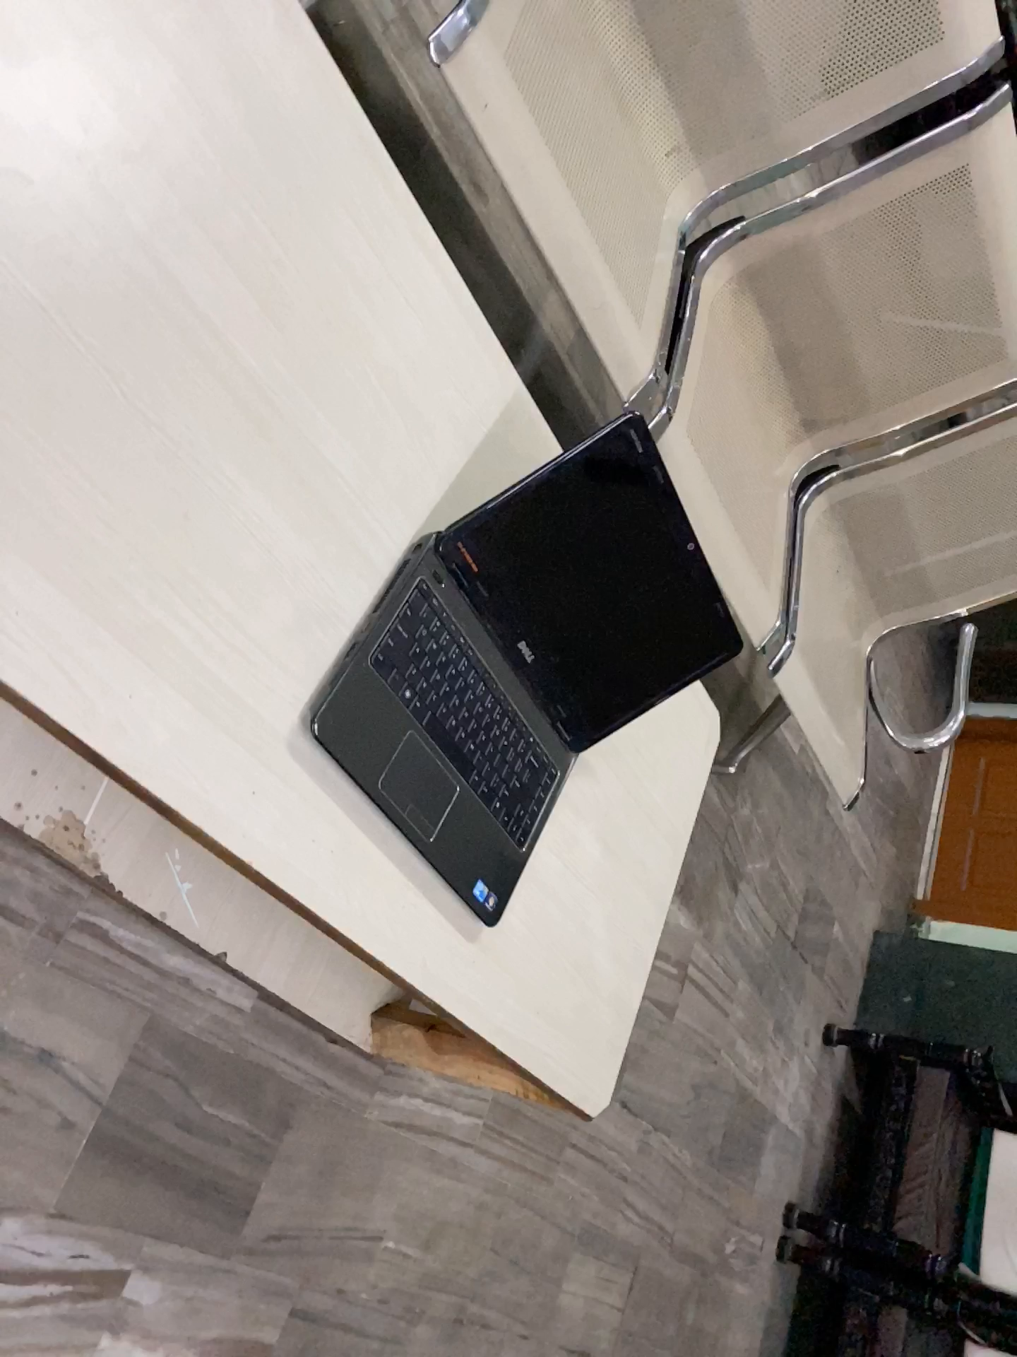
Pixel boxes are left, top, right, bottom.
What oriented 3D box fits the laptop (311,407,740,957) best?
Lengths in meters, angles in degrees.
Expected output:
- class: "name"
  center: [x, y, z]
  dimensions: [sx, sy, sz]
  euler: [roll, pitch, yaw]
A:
- class: "laptop"
  center: [0.049, 0.004, 0.987]
  dimensions: [0.330, 0.152, 0.379]
  euler: [56, 50, -40]
